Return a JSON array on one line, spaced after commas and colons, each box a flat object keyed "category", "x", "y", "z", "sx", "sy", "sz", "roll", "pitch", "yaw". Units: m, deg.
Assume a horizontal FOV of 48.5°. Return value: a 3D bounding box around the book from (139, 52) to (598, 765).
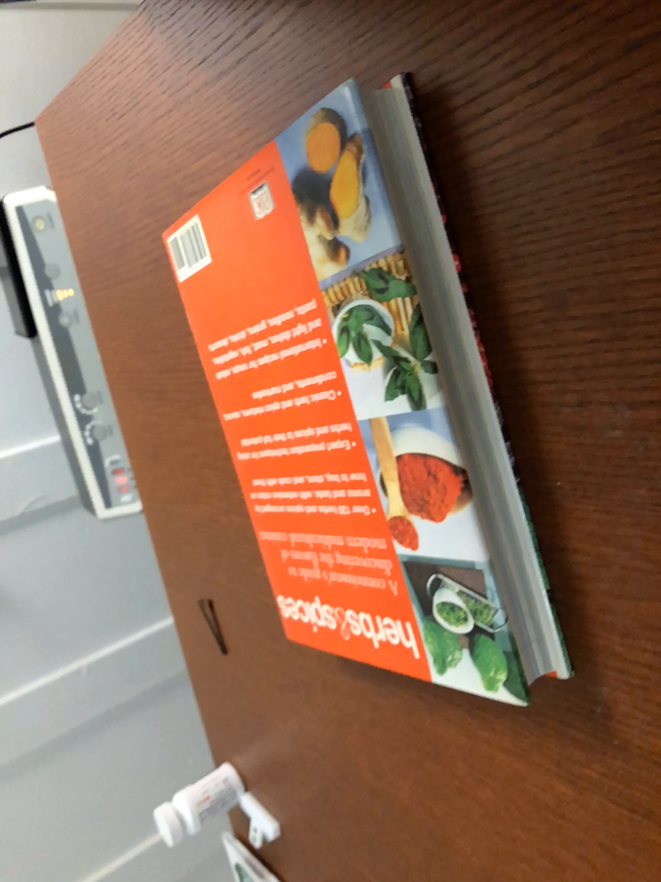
[{"category": "book", "x": 0.000, "y": -0.004, "z": 0.365, "sx": 0.211, "sy": 0.040, "sz": 0.270, "roll": -5, "pitch": 102, "yaw": 56}]
